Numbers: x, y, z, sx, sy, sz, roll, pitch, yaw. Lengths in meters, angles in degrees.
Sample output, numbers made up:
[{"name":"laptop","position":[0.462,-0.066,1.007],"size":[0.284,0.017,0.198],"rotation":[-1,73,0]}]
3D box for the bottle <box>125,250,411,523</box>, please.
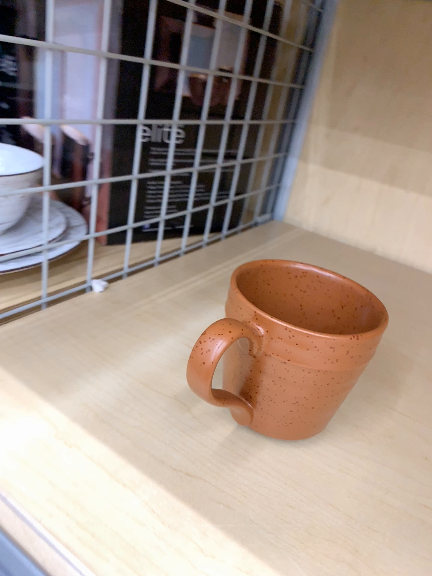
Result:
[{"name":"bottle","position":[0.033,0.046,0.289],"size":[0.140,0.090,0.100],"rotation":[-15,36,-43]}]
